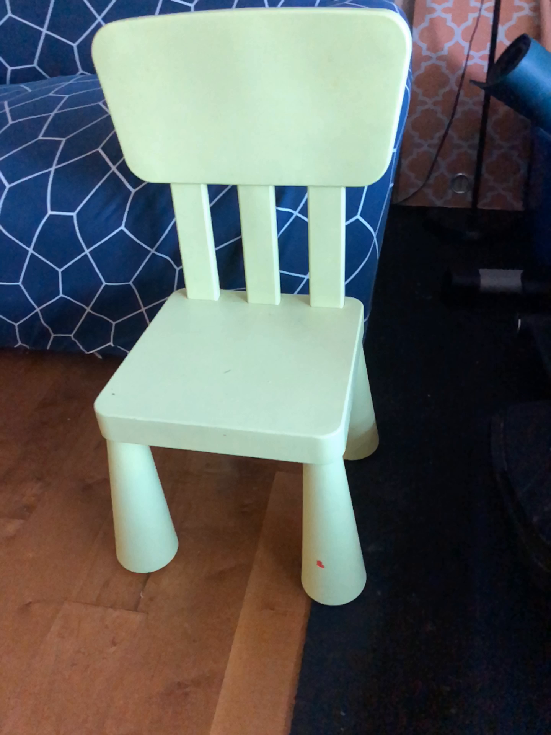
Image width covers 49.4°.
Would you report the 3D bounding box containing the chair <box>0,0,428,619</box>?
[{"bbox_3d":[-0.047,-0.072,0.757,0.390,0.635,0.413,4,39,10],"label":"chair"}]
